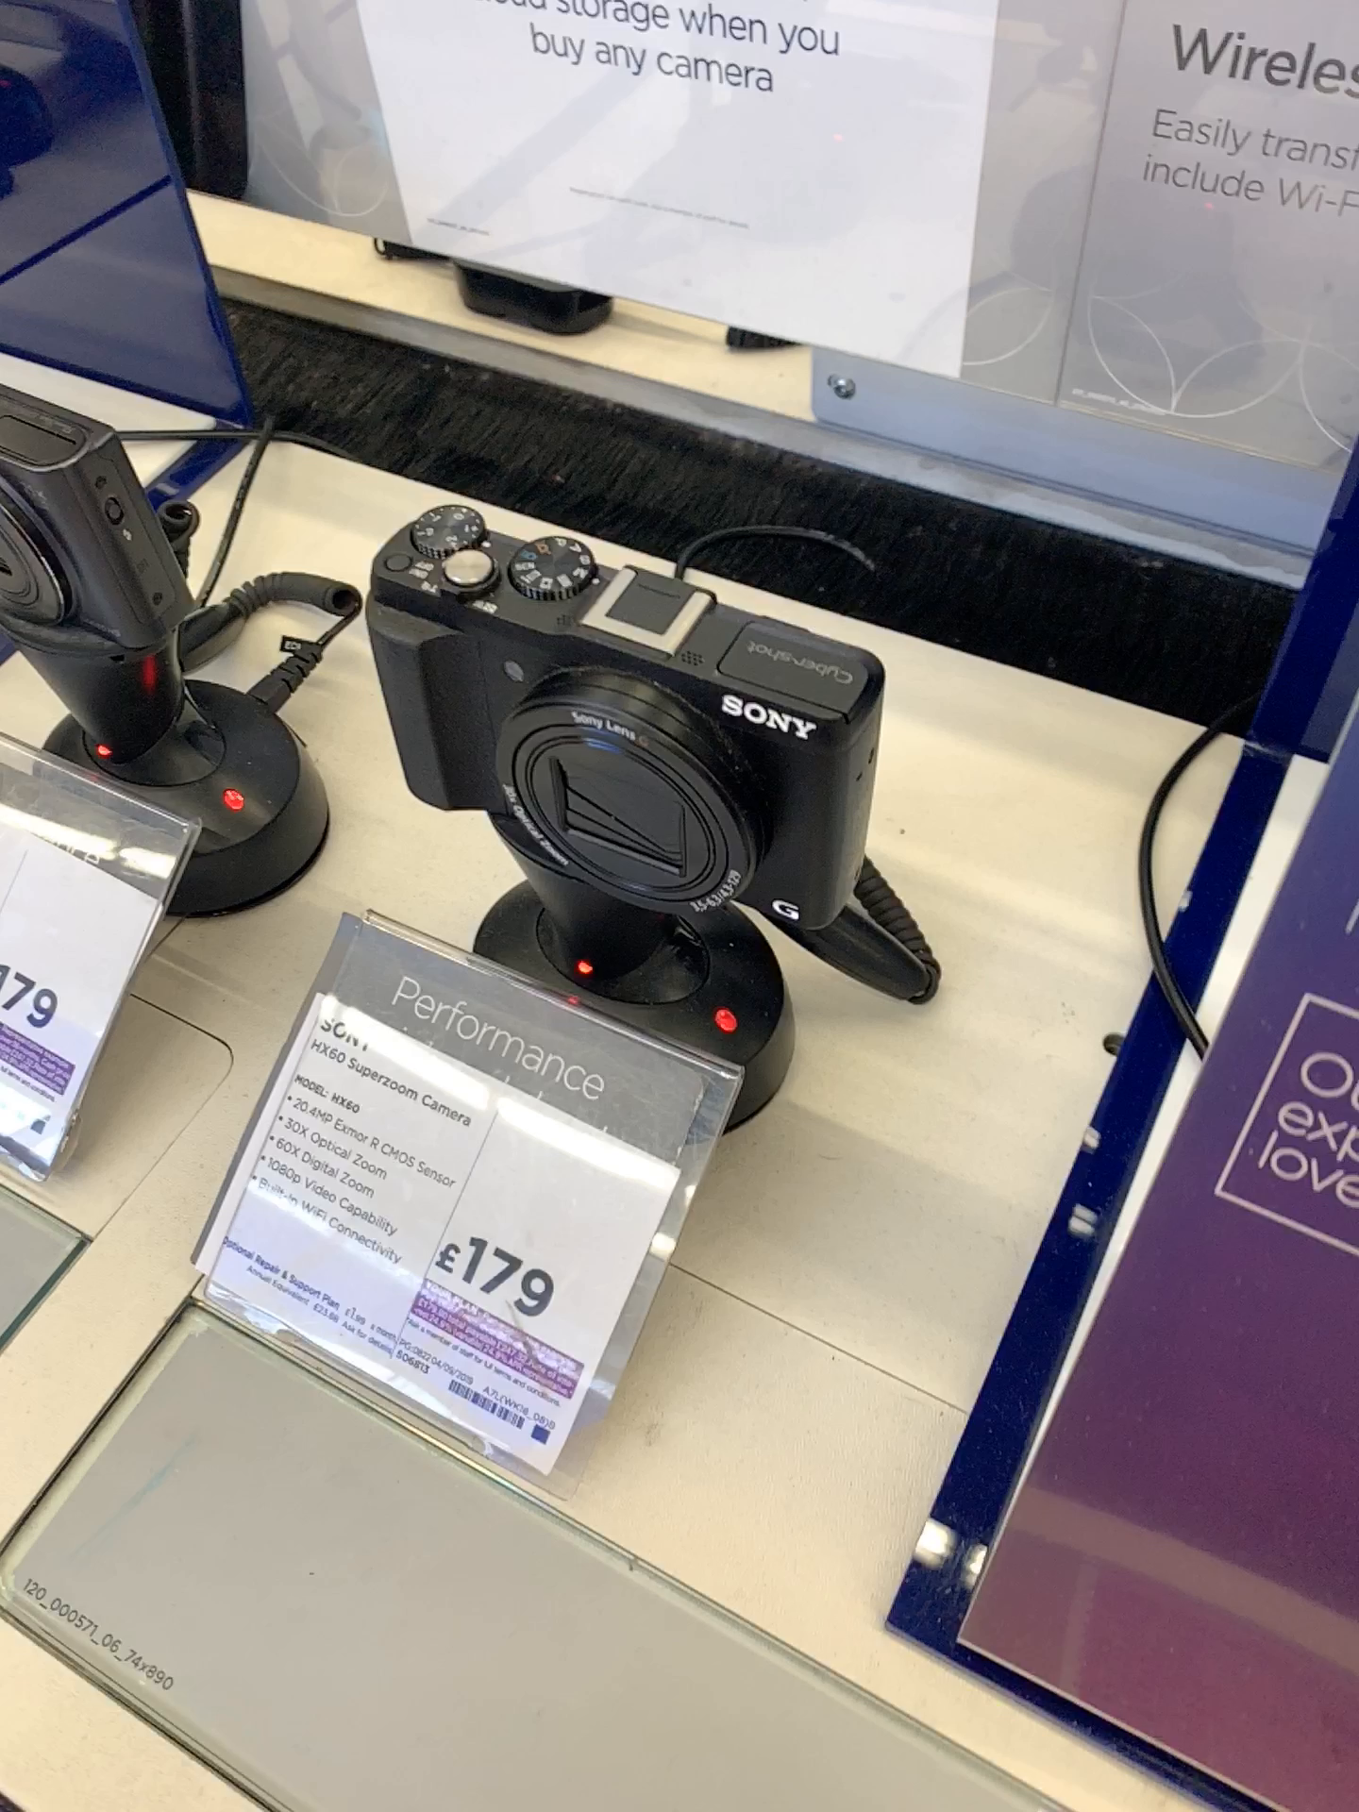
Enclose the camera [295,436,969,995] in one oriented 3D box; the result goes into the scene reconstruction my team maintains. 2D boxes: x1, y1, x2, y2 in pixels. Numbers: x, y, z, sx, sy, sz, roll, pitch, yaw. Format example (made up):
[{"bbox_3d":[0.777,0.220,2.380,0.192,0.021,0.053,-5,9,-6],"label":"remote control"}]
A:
[{"bbox_3d":[-0.008,-0.037,0.268,0.110,0.069,0.040,20,57,18],"label":"camera"}]
